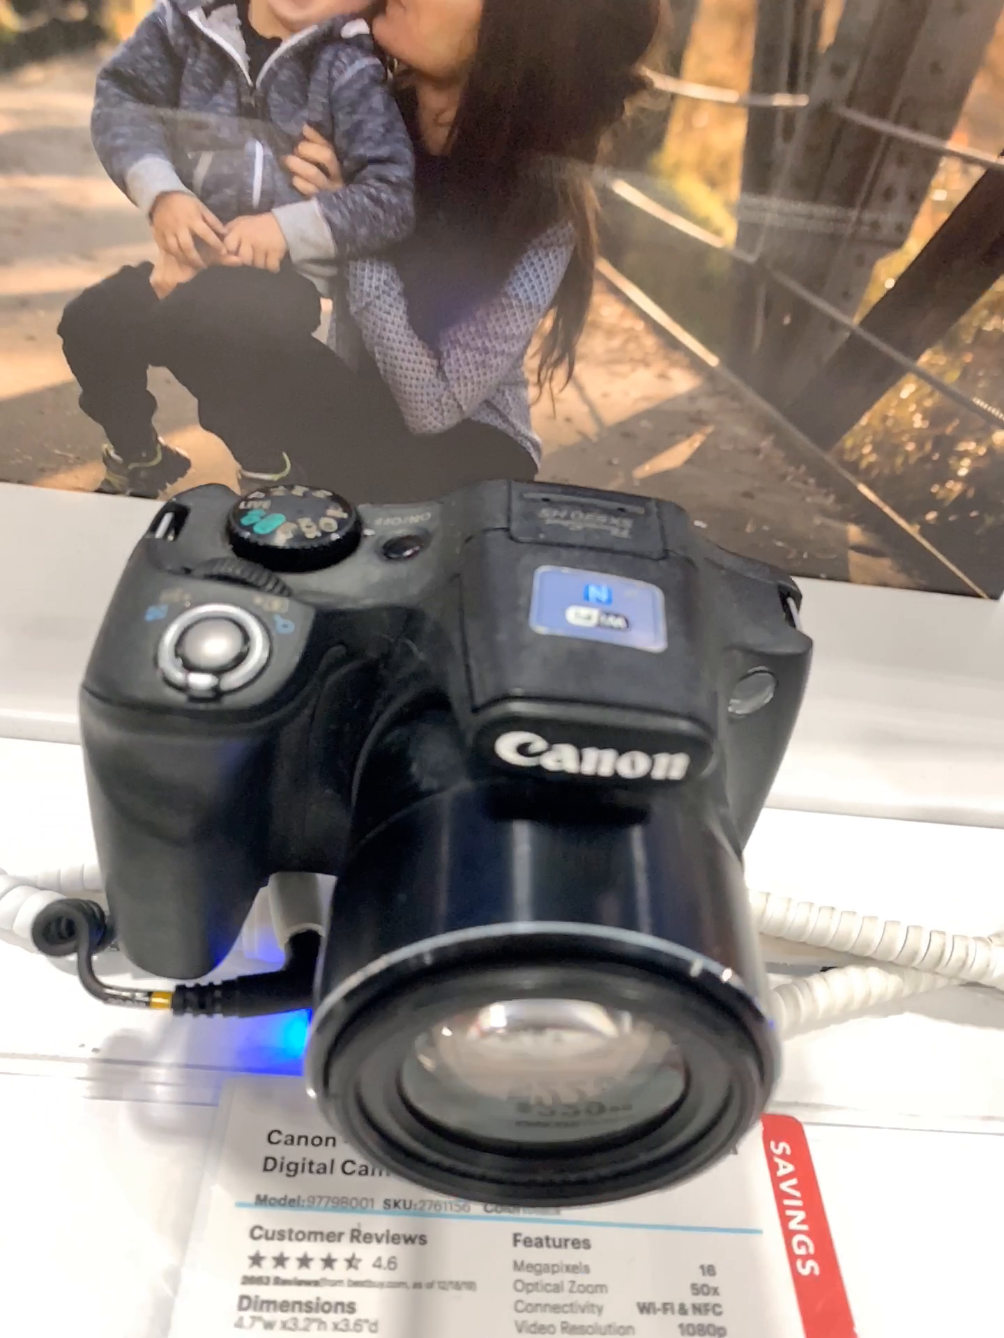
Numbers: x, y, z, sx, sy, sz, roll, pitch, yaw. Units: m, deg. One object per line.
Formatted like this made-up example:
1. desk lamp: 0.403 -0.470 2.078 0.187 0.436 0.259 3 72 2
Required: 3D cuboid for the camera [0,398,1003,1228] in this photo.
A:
1. camera: -0.005 0.021 0.164 0.124 0.080 0.090 6 35 -8
